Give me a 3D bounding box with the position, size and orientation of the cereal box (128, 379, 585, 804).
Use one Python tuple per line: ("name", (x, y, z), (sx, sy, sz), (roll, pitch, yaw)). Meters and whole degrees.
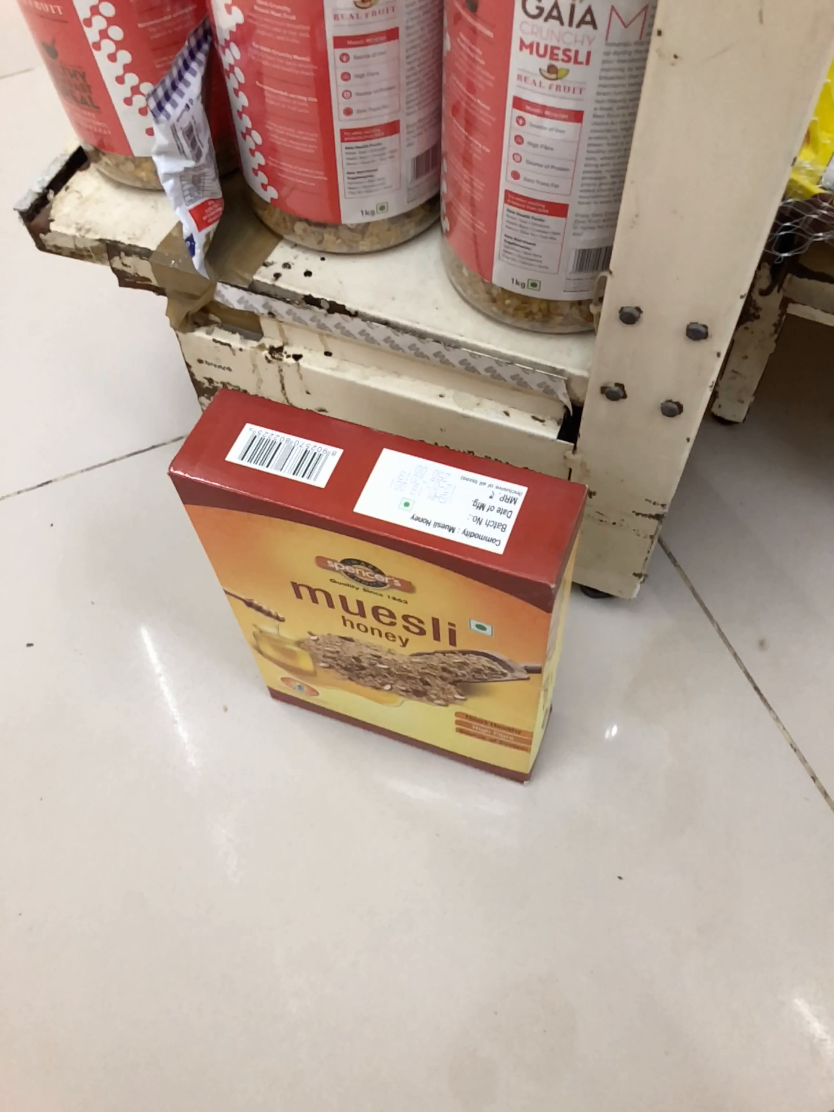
("cereal box", (-0.020, 0.036, 0.507), (0.190, 0.259, 0.060), (17, 61, 14))
